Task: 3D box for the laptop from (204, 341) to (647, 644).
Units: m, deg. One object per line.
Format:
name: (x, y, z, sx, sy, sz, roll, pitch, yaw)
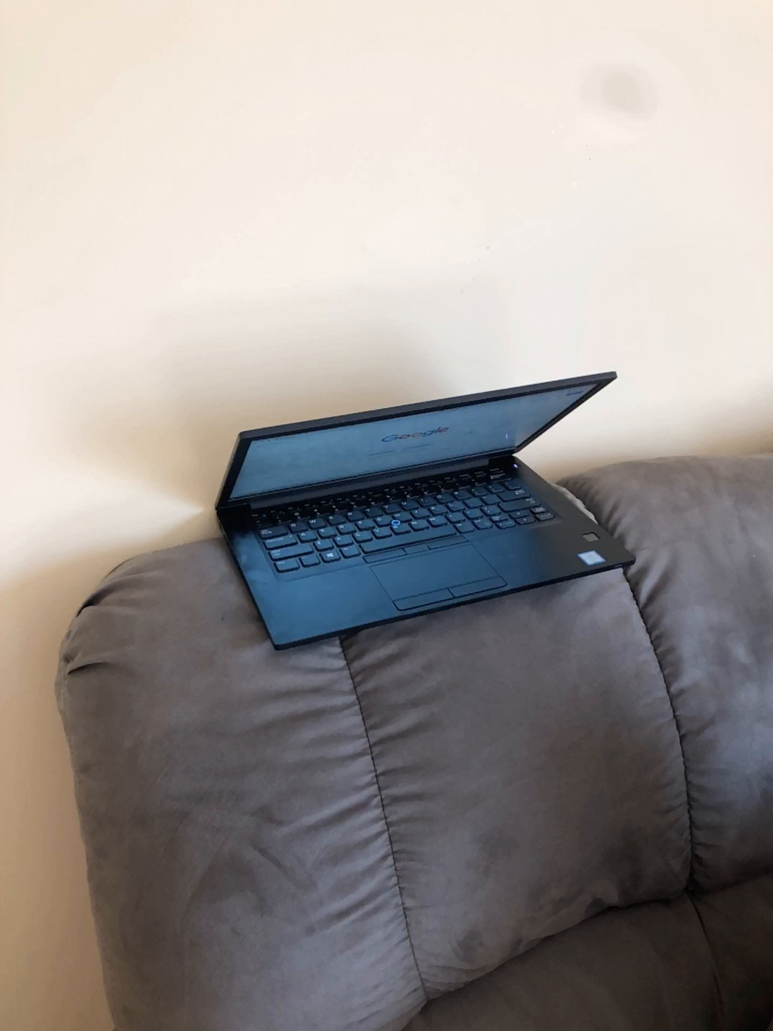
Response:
laptop: (0.026, -0.041, 0.754, 0.321, 0.128, 0.214, -11, 30, -19)
